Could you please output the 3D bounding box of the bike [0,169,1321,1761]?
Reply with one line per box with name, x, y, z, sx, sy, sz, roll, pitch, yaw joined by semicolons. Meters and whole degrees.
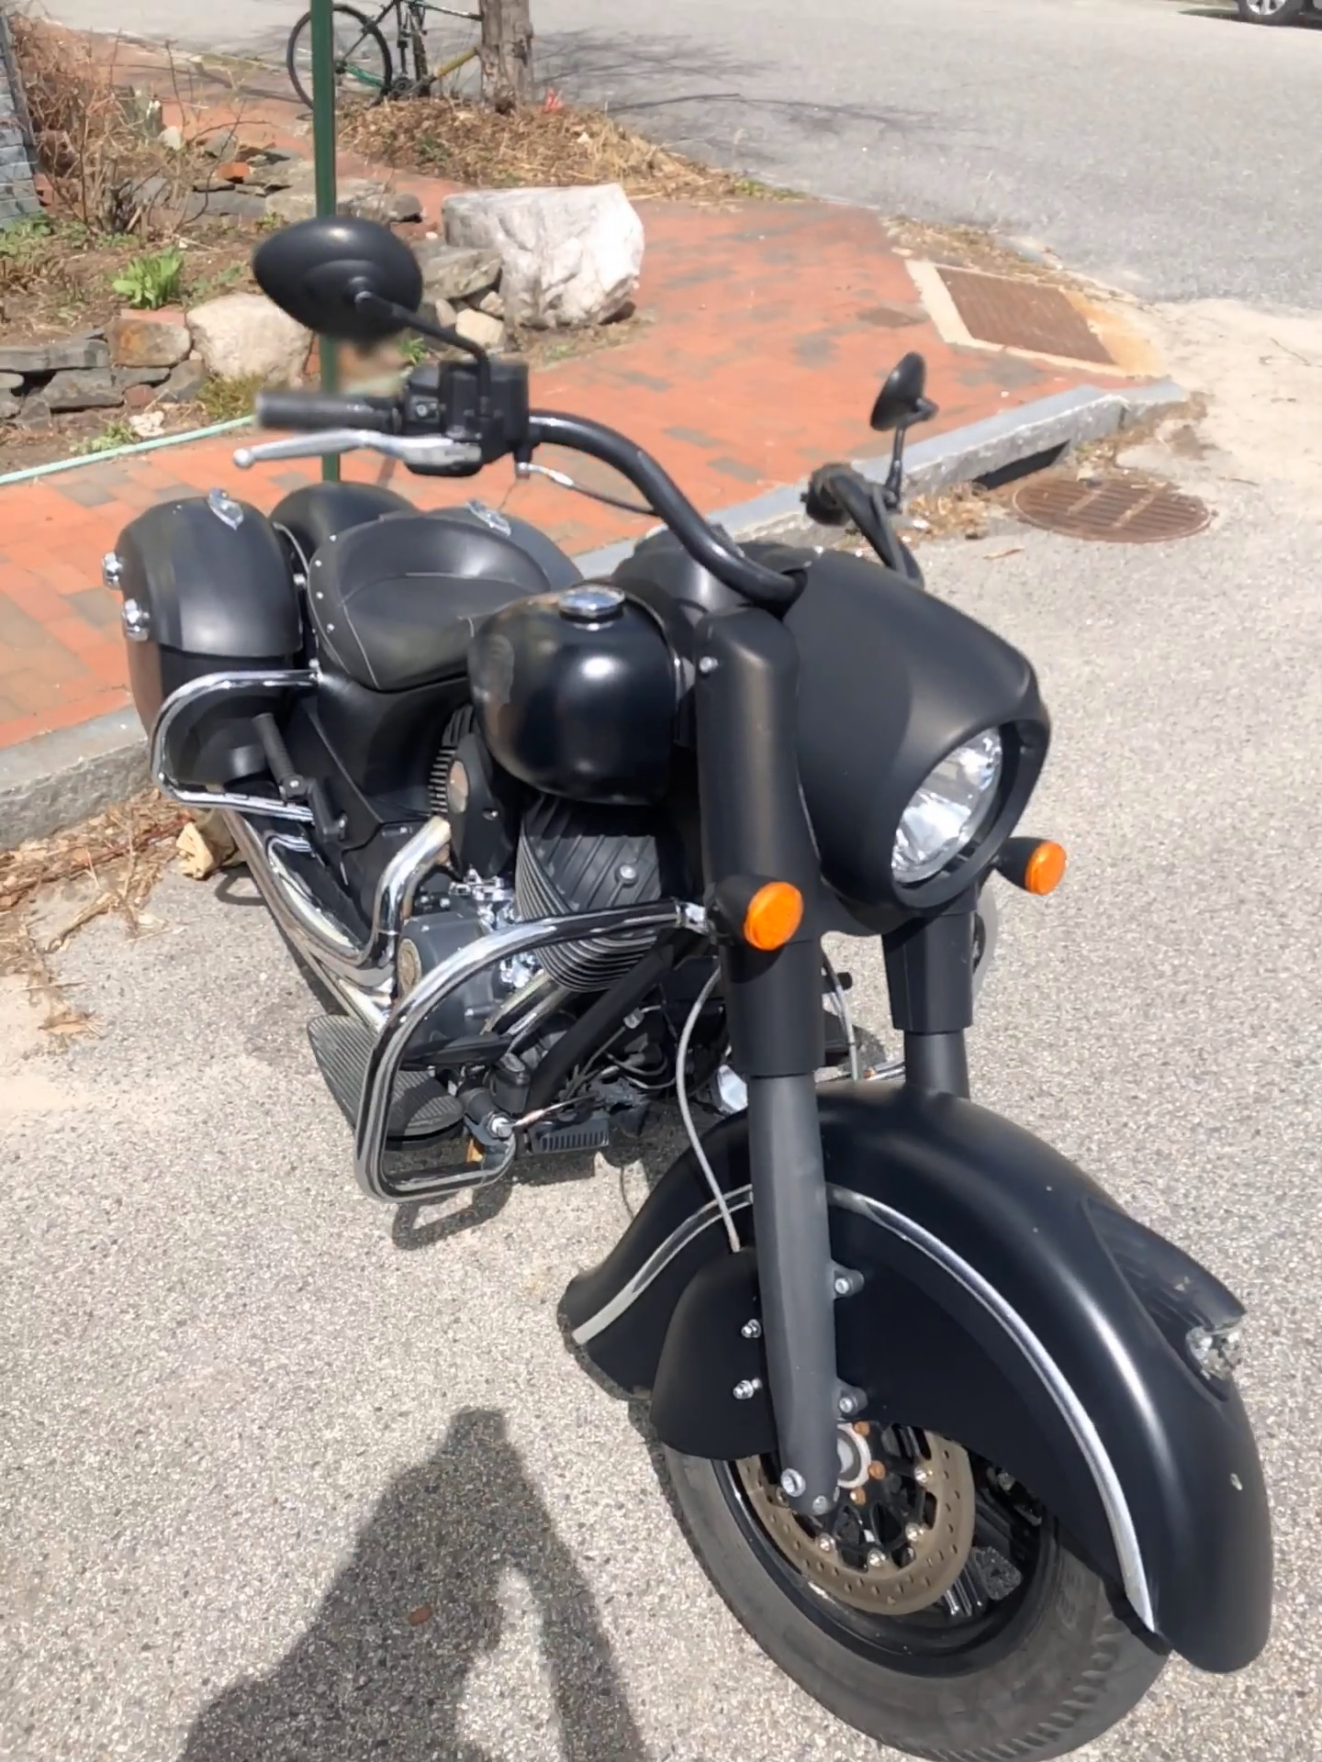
bike;-0.108;-0.077;1.836;0.782;1.237;2.135;-21;38;-24
